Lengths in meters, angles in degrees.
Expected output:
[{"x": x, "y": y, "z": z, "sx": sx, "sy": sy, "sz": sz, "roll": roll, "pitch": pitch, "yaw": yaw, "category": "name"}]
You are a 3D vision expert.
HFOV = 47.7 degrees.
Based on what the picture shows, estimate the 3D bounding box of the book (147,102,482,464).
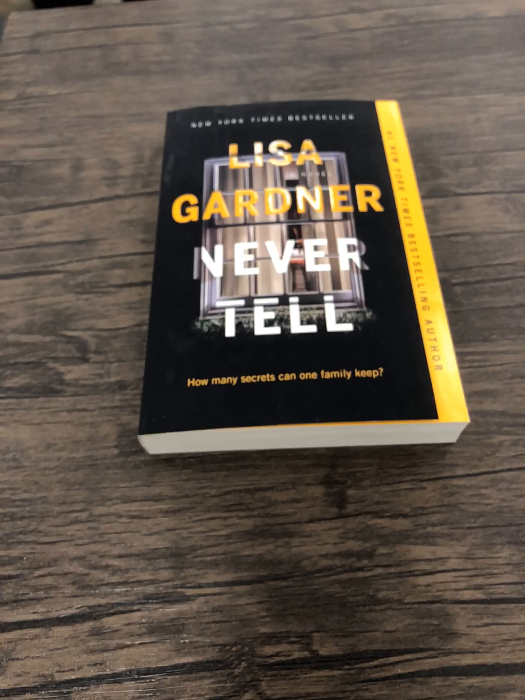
[{"x": 0.020, "y": -0.047, "z": 0.310, "sx": 0.137, "sy": 0.032, "sz": 0.207, "roll": -2, "pitch": 59, "yaw": 1, "category": "book"}]
